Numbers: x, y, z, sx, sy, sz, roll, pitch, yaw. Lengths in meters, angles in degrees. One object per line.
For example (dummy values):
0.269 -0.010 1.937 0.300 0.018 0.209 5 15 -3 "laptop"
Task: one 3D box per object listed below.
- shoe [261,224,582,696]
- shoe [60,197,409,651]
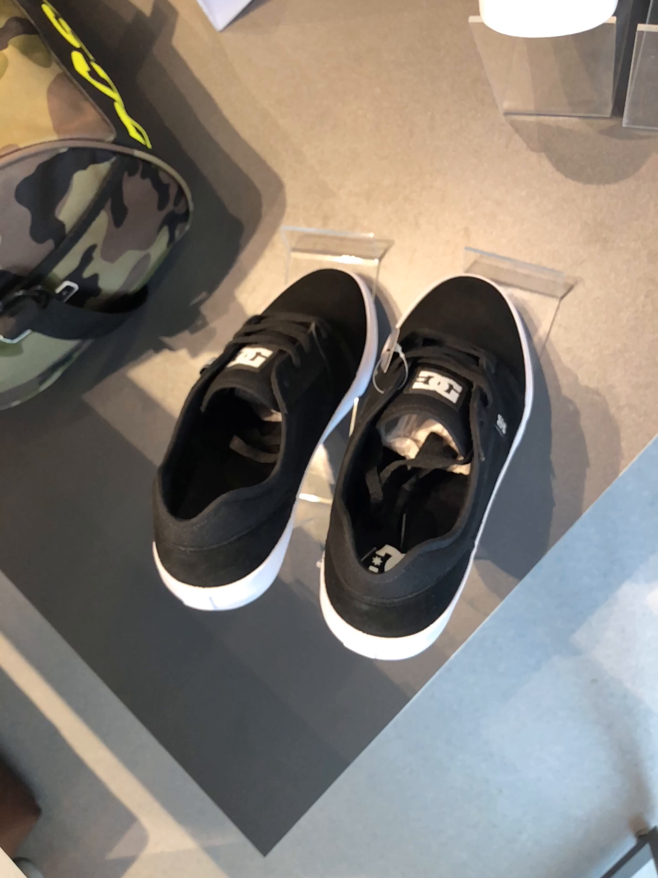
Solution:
0.060 0.004 0.418 0.106 0.107 0.229 14 59 13 "shoe"
-0.034 -0.017 0.428 0.106 0.107 0.229 12 59 14 "shoe"
